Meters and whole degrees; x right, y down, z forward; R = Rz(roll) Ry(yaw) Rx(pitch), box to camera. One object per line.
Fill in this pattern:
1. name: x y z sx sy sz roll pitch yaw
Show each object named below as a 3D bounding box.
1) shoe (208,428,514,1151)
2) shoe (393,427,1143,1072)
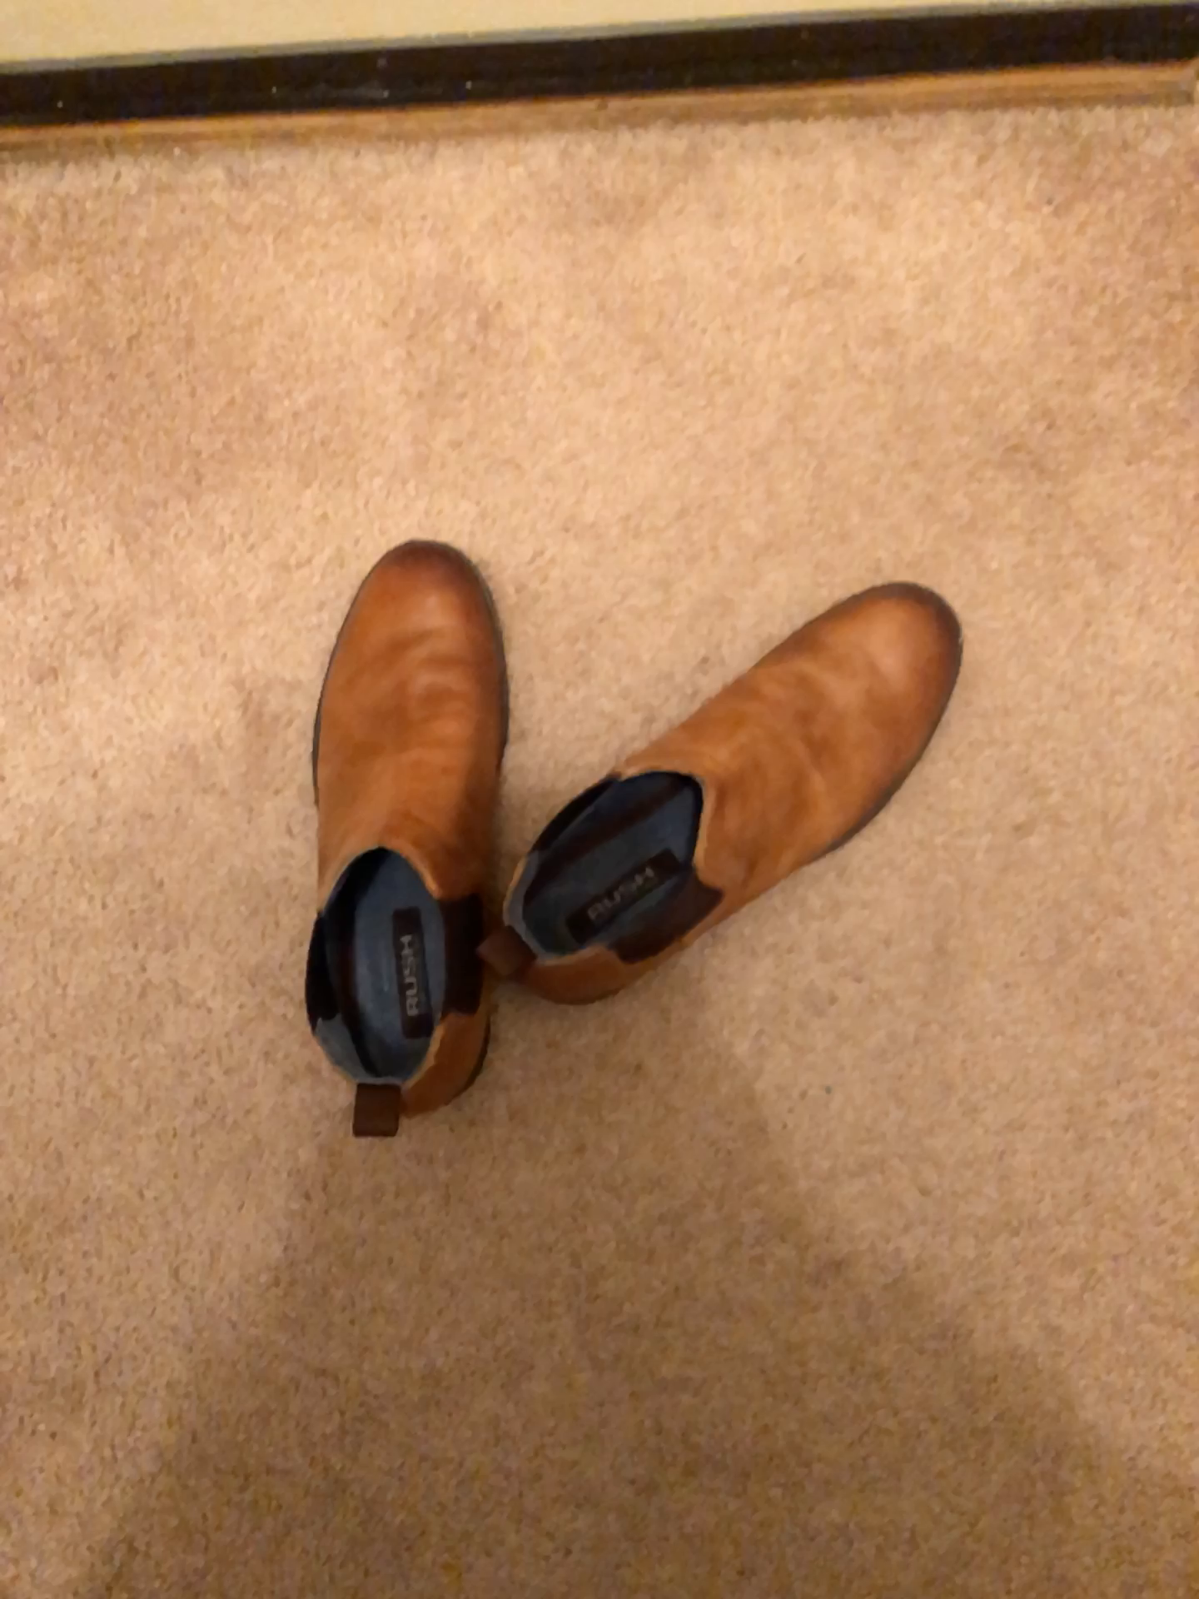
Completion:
1. shoe: -0.104 0.002 0.646 0.109 0.166 0.312 0 81 1
2. shoe: 0.073 -0.013 0.636 0.312 0.166 0.109 -36 82 -5
